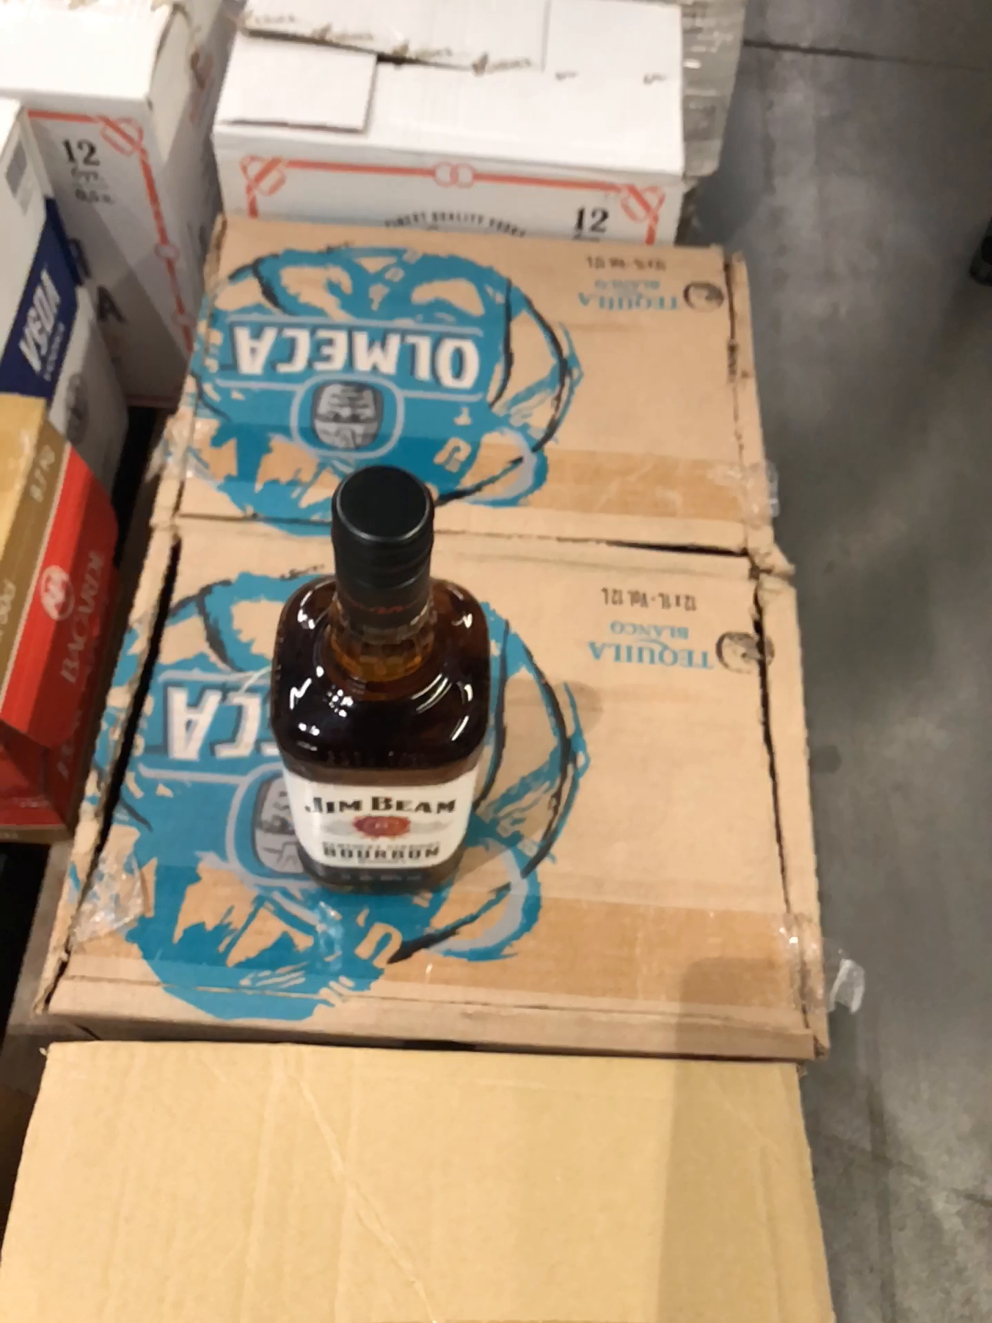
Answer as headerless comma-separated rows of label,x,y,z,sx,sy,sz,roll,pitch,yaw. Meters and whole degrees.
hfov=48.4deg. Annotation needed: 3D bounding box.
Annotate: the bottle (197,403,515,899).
bottle,-0.048,0.018,0.451,0.090,0.264,0.081,2,61,-3
